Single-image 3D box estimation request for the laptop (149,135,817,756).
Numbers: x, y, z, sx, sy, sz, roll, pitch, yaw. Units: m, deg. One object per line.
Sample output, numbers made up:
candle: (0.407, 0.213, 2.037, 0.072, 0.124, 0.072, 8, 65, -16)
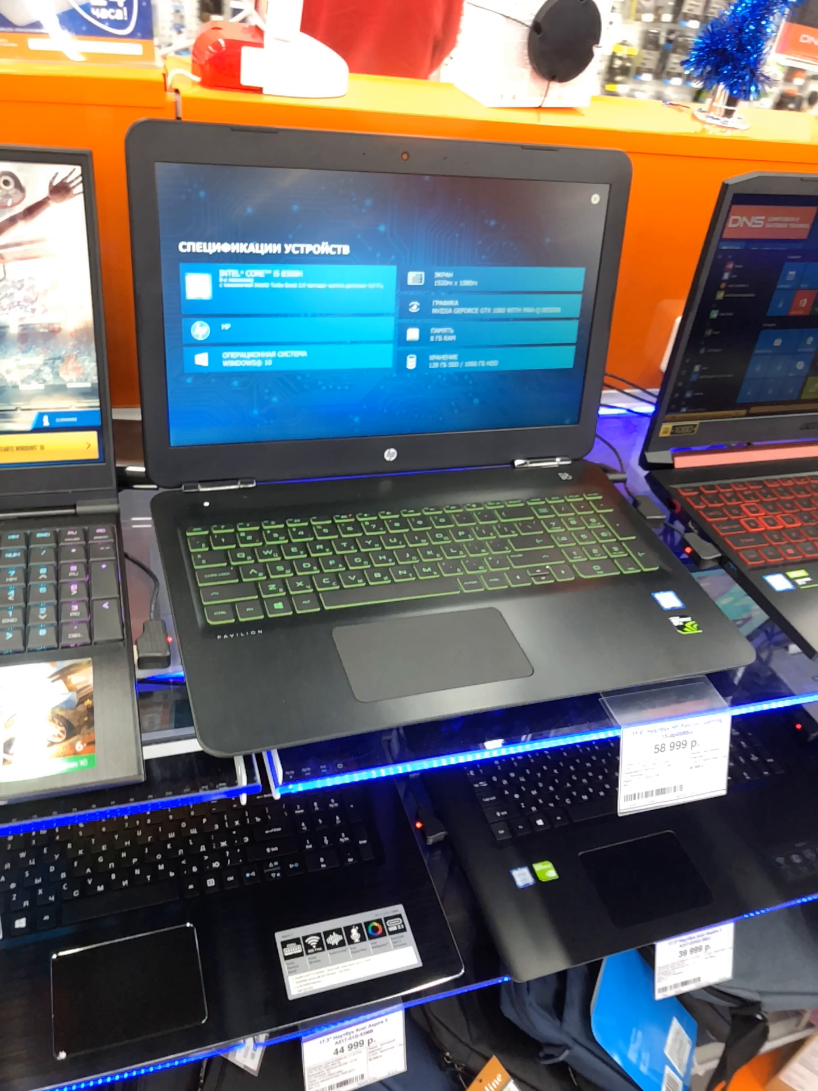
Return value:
laptop: (0.034, -0.093, 0.594, 0.357, 0.235, 0.313, -6, 39, -20)
